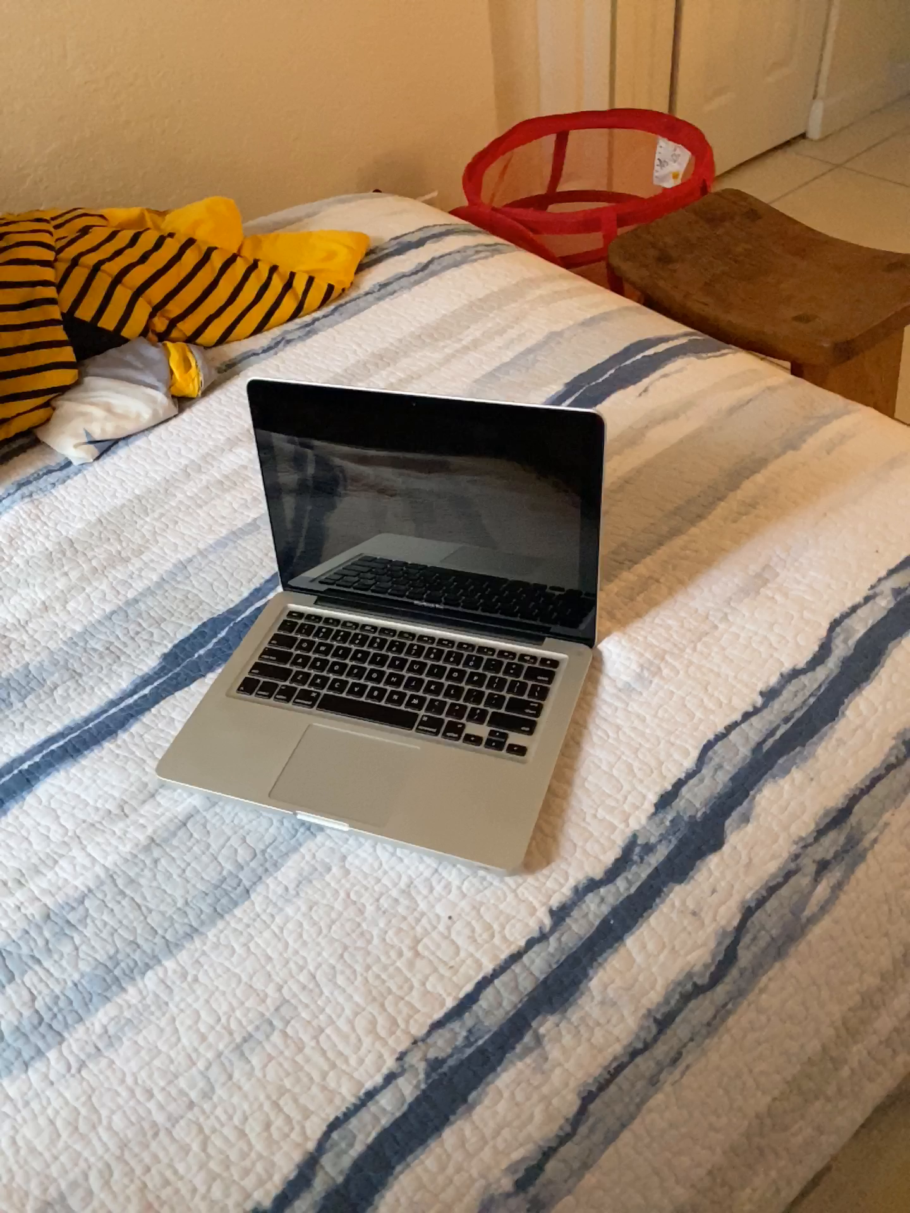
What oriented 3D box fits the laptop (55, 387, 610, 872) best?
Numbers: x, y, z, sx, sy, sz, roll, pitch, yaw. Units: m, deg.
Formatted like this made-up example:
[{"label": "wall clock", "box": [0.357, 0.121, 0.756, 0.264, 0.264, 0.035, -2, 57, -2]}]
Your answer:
[{"label": "laptop", "box": [-0.066, 0.000, 0.737, 0.318, 0.199, 0.279, 10, 48, 19]}]
